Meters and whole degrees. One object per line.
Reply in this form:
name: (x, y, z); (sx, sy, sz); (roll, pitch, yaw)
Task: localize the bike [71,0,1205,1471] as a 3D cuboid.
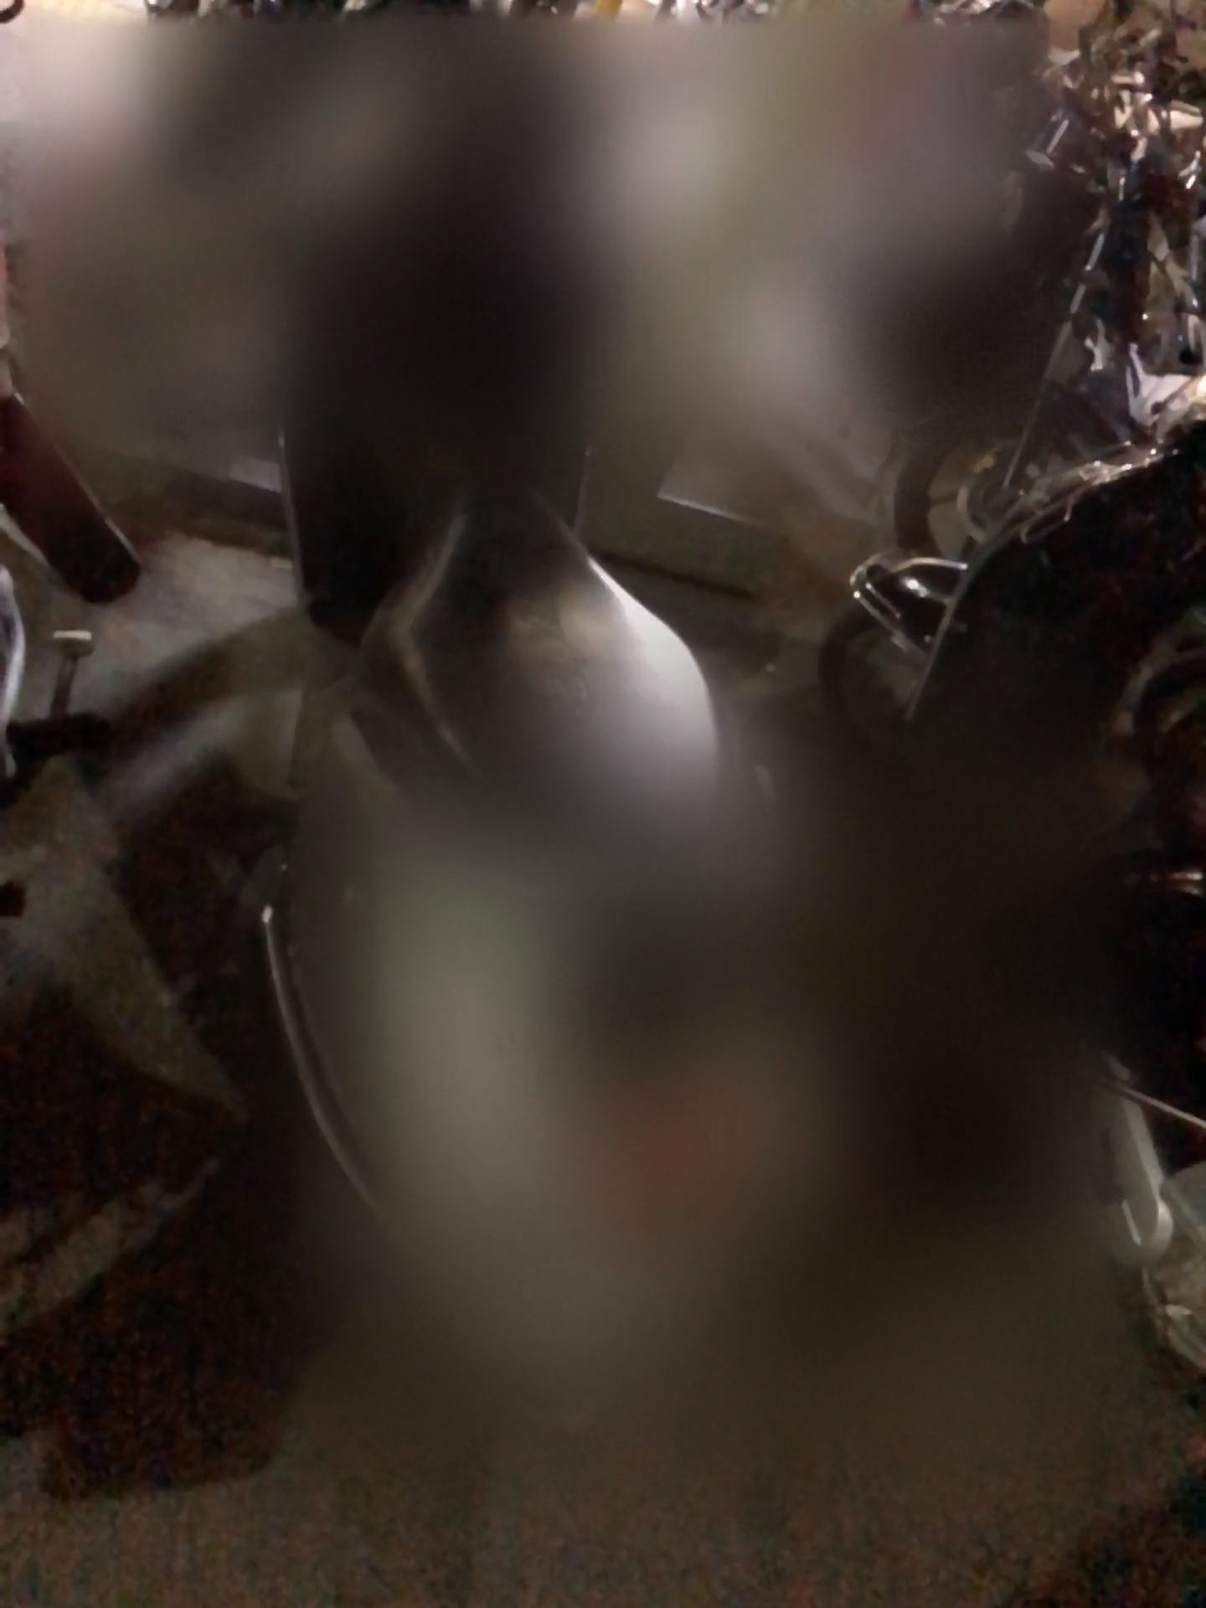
bike: (-0.176, -0.178, 1.571); (0.603, 1.094, 1.386); (9, 42, -25)
